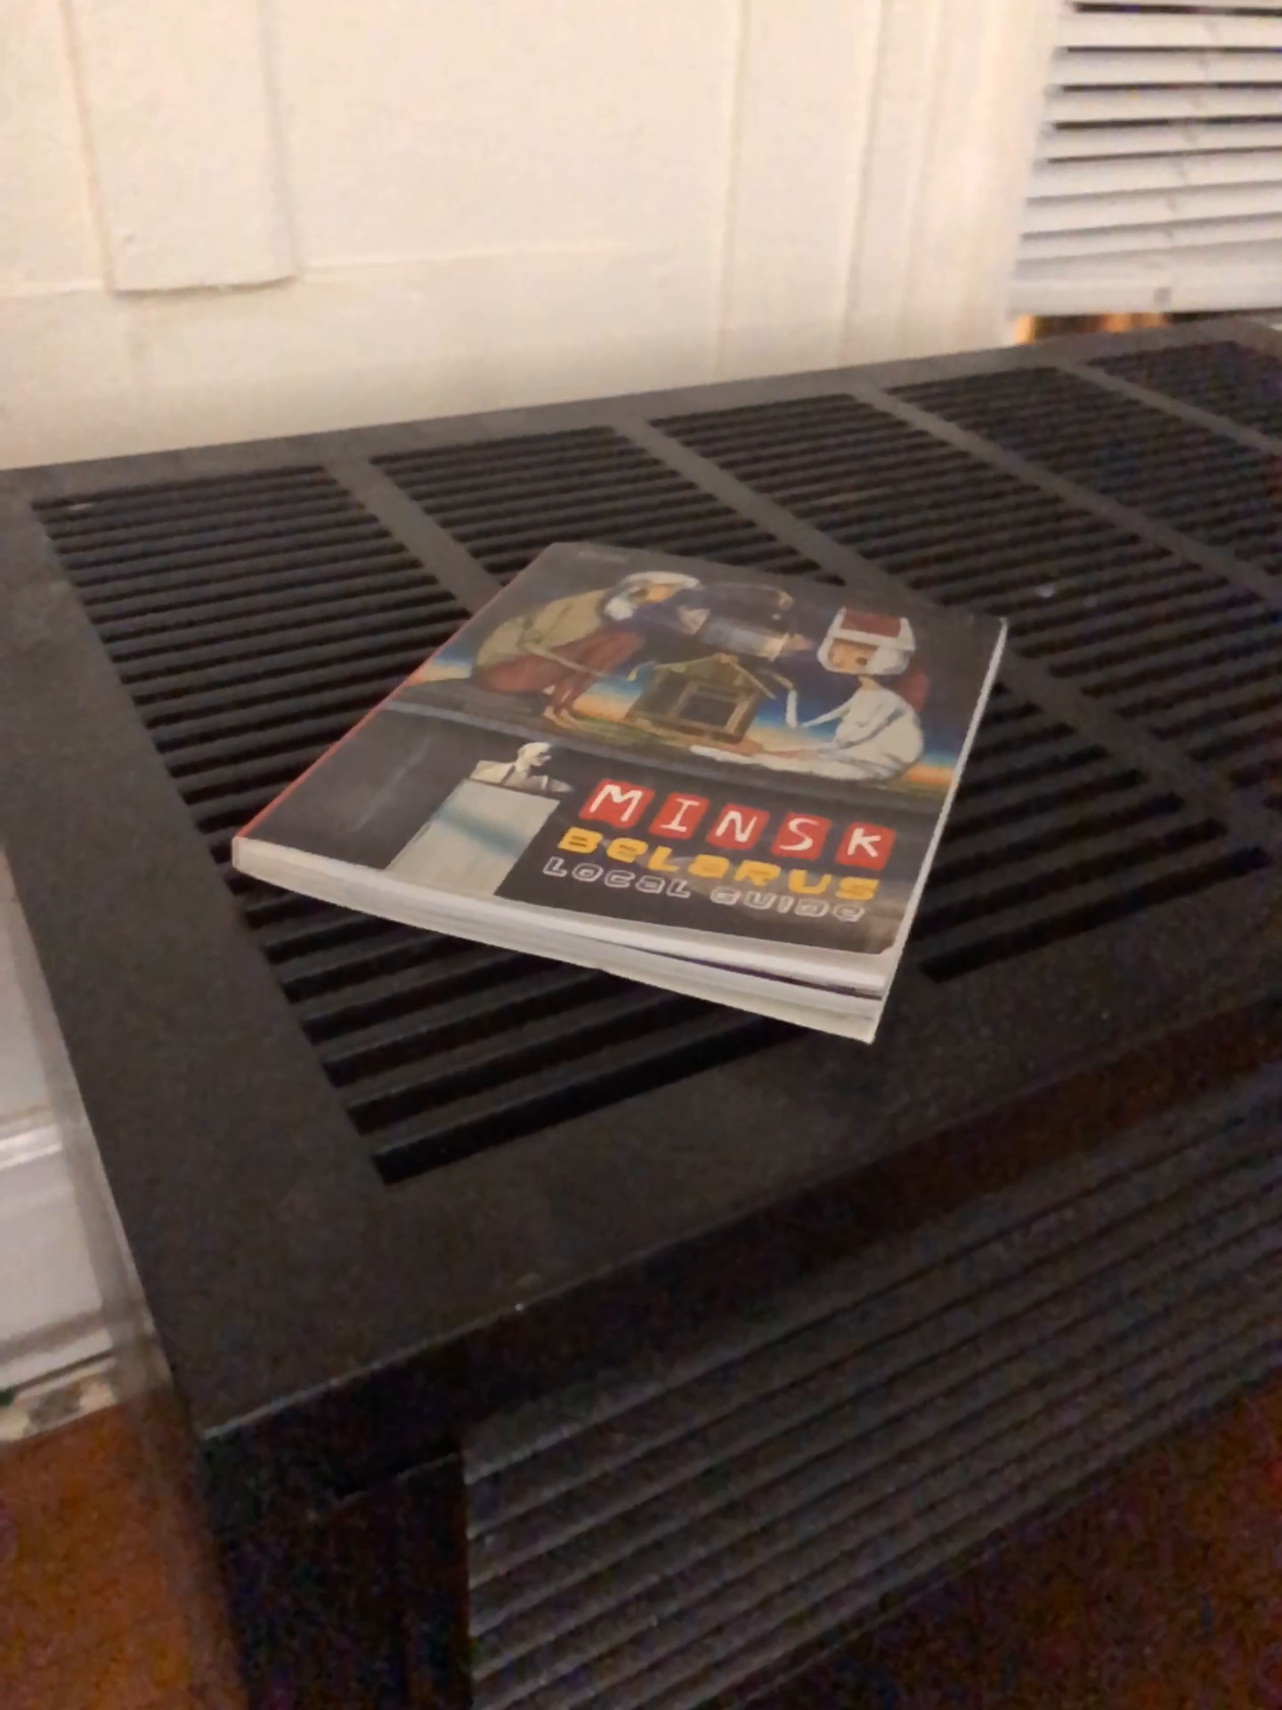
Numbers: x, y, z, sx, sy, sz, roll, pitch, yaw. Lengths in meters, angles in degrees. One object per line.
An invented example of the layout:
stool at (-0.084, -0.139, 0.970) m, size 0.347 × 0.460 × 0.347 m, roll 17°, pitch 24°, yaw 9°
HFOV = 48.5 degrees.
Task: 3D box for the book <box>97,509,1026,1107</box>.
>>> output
book at (-0.001, -0.032, 0.351) m, size 0.160 × 0.020 × 0.201 m, roll 13°, pitch 35°, yaw 16°
